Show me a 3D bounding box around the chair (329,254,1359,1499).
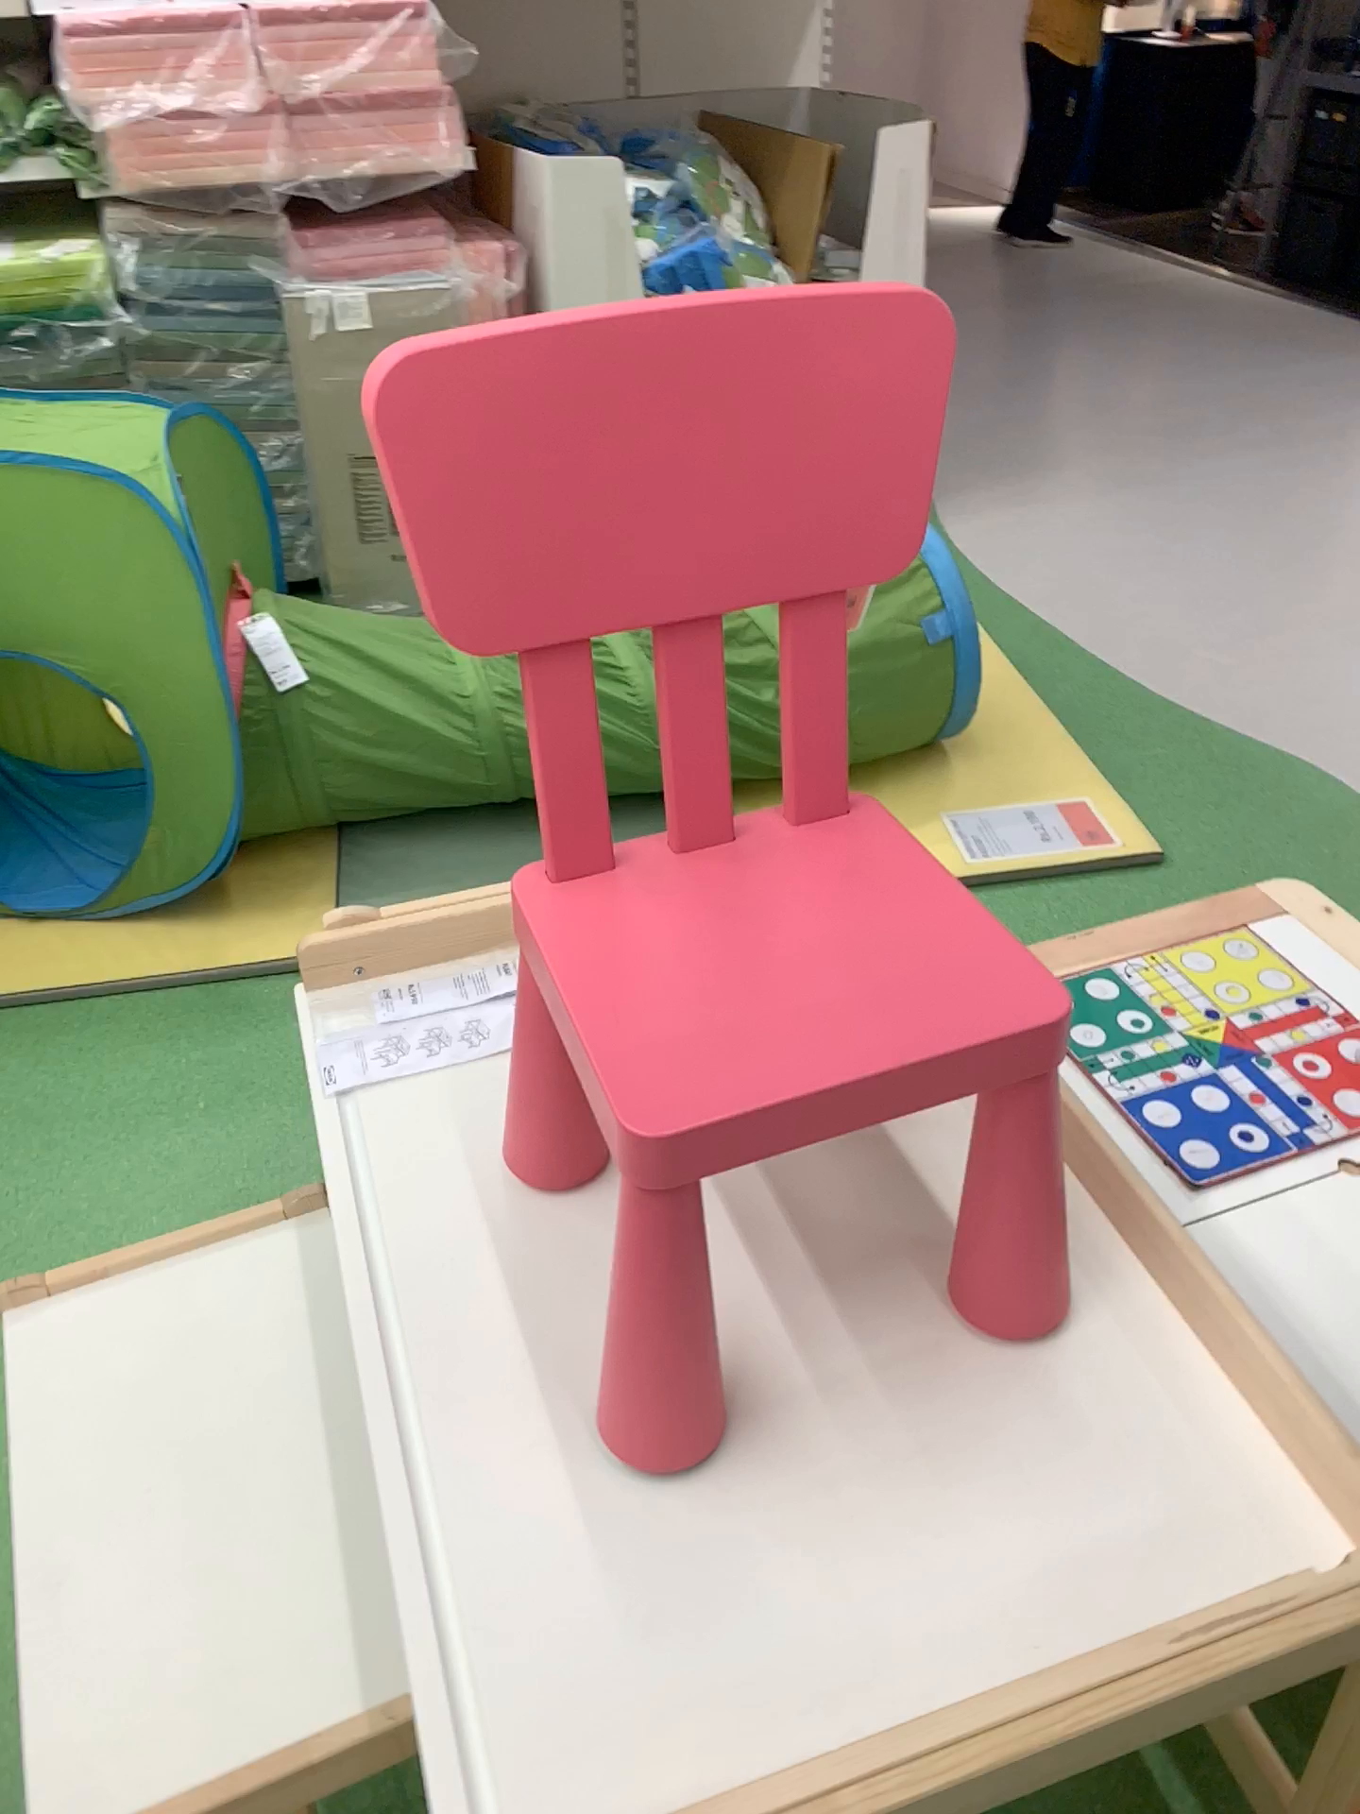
[{"bbox_3d":[0.067,-0.035,0.880,0.420,0.597,0.402,-13,37,-15],"label":"chair"}]
